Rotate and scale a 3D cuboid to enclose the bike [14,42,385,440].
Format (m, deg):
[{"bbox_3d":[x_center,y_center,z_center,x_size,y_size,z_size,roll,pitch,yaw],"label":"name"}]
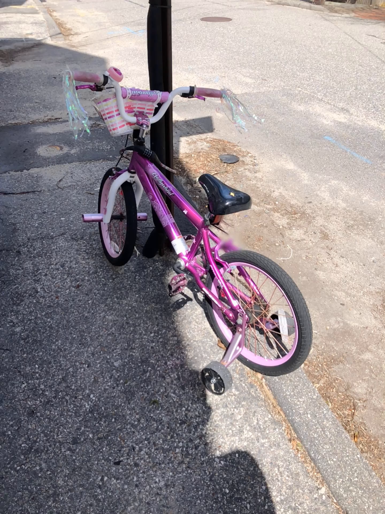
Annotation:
[{"bbox_3d":[-0.026,-0.196,1.559,0.616,0.869,1.228,-26,43,-32],"label":"bike"}]
